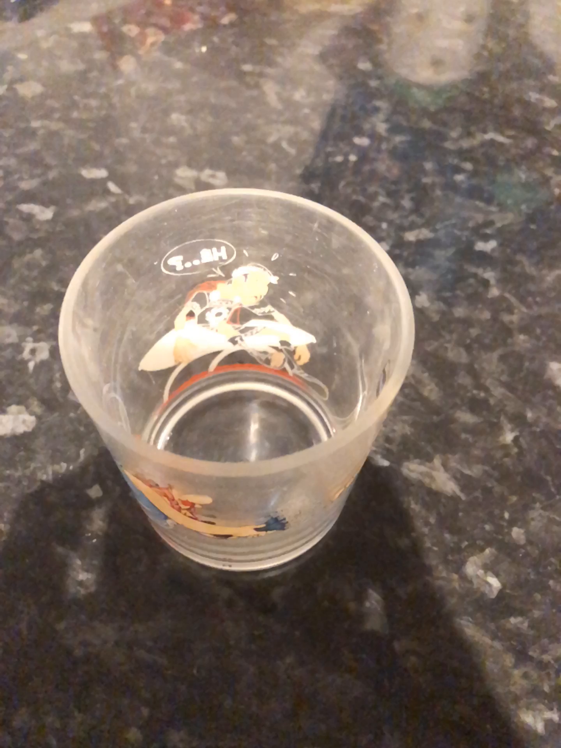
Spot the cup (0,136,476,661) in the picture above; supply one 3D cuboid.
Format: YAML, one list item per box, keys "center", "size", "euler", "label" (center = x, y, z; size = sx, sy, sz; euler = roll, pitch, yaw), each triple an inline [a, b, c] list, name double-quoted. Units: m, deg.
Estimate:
- center: [-0.012, 0.009, 0.159]
  size: [0.080, 0.080, 0.080]
  euler: [1, 58, -2]
  label: "cup"
